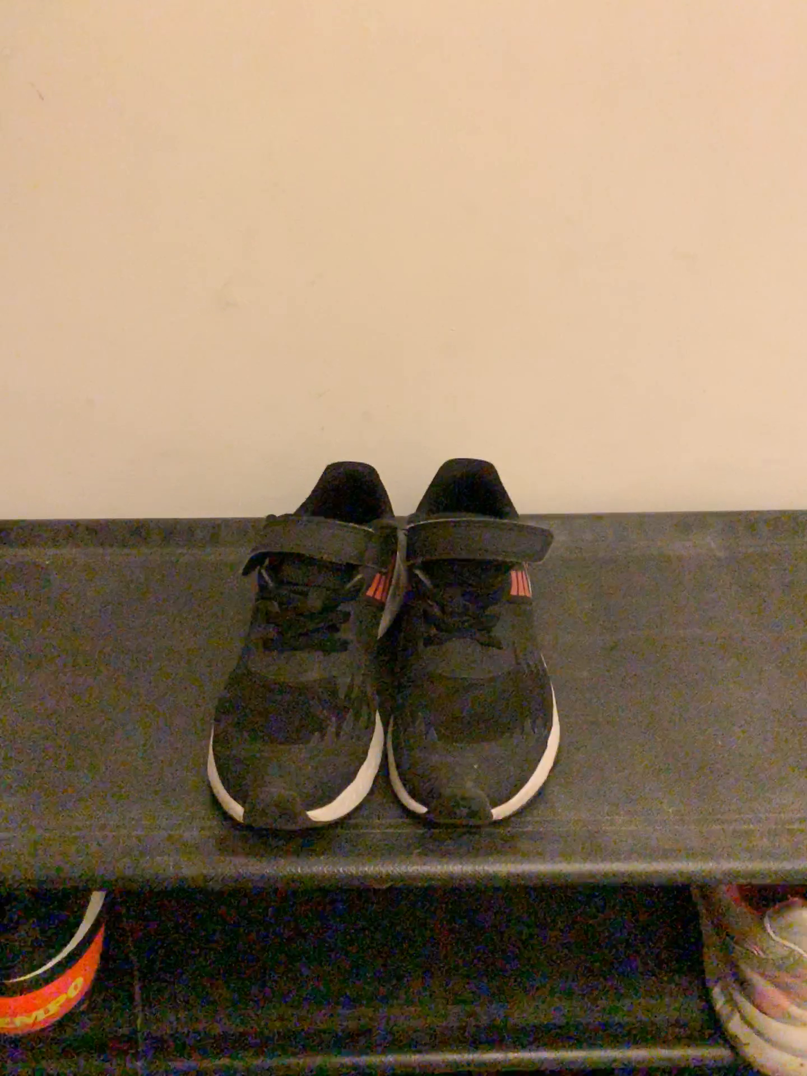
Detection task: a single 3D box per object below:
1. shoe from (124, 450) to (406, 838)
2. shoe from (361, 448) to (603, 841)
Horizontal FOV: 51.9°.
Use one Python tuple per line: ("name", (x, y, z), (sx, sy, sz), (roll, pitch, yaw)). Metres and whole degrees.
("shoe", (-0.054, 0.039, 0.426), (0.090, 0.079, 0.202), (3, 34, 5))
("shoe", (0.035, 0.038, 0.415), (0.090, 0.079, 0.202), (2, 33, 3))
